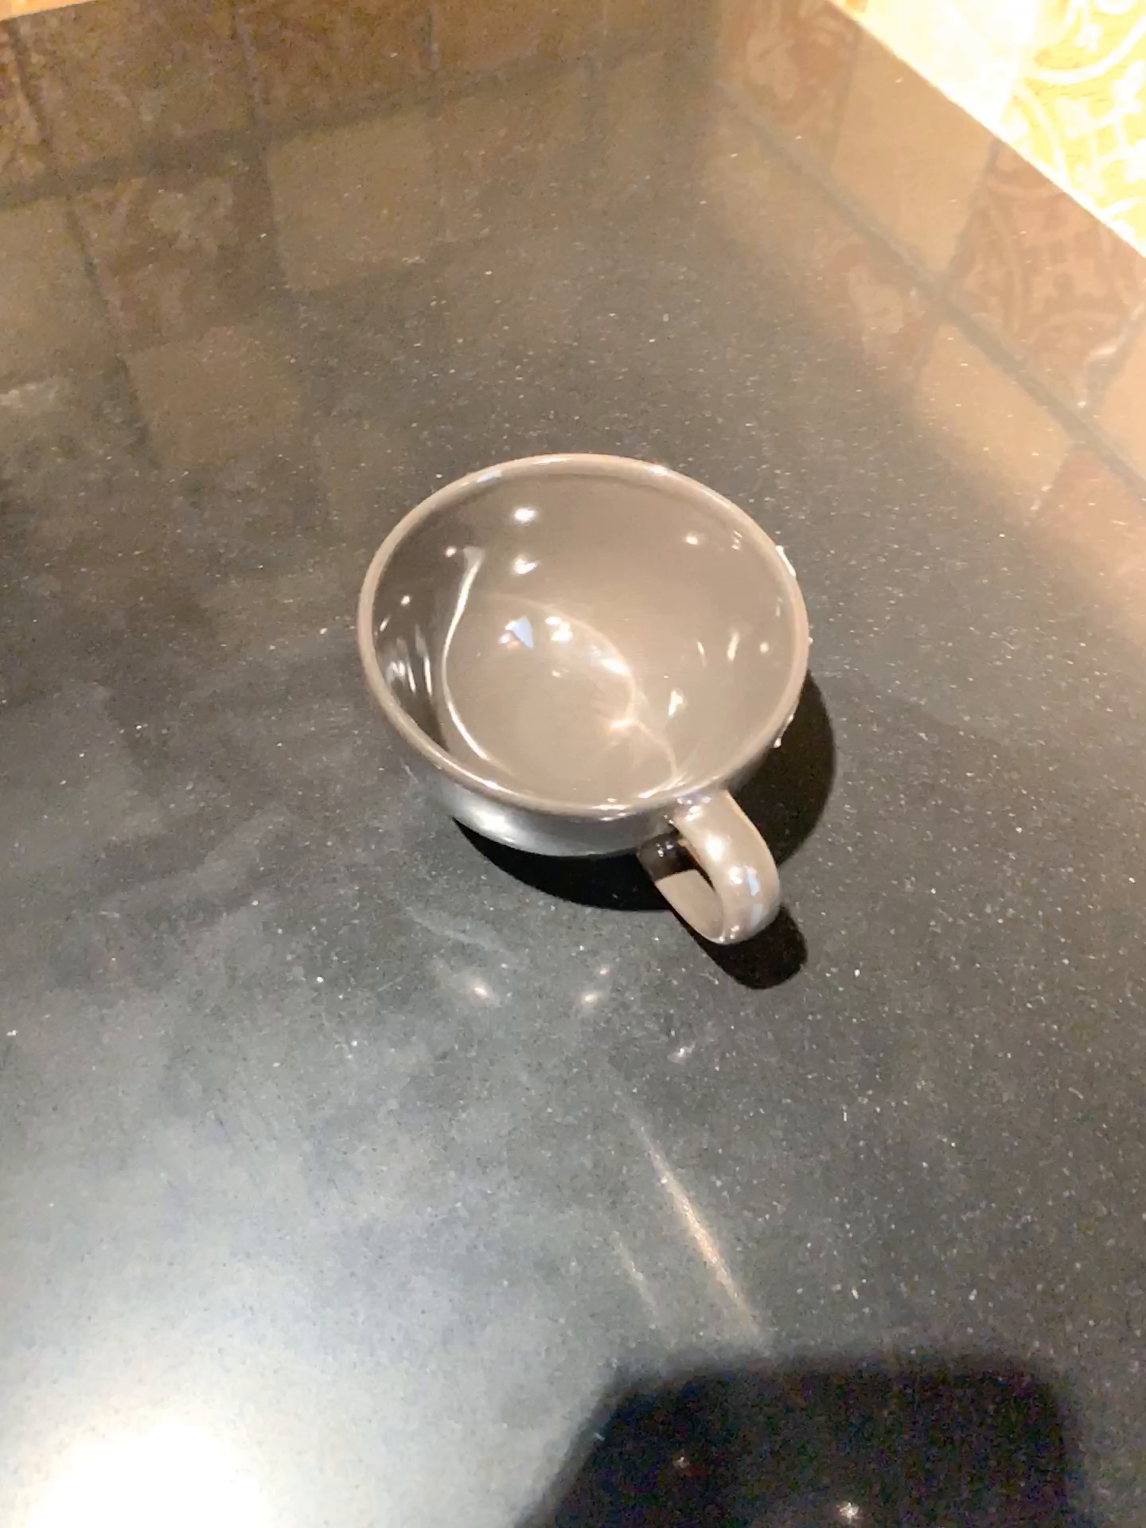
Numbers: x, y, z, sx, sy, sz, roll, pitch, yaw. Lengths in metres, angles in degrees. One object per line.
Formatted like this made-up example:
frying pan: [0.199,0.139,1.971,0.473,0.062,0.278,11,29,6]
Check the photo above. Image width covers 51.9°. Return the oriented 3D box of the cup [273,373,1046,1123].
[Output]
cup: [0.014,-0.011,0.284,0.110,0.060,0.140,-27,62,-18]
